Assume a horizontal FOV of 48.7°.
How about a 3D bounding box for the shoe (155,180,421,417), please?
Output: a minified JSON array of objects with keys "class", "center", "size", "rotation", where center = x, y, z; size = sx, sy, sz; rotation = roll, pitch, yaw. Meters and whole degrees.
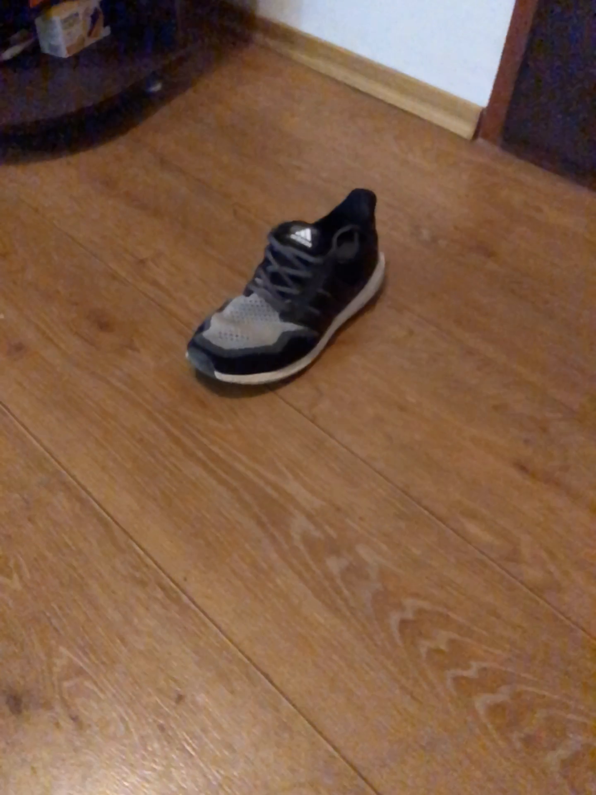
[{"class":"shoe","center":[-0.003,-0.116,0.704],"size":[0.113,0.099,0.271],"rotation":[36,57,25]}]
